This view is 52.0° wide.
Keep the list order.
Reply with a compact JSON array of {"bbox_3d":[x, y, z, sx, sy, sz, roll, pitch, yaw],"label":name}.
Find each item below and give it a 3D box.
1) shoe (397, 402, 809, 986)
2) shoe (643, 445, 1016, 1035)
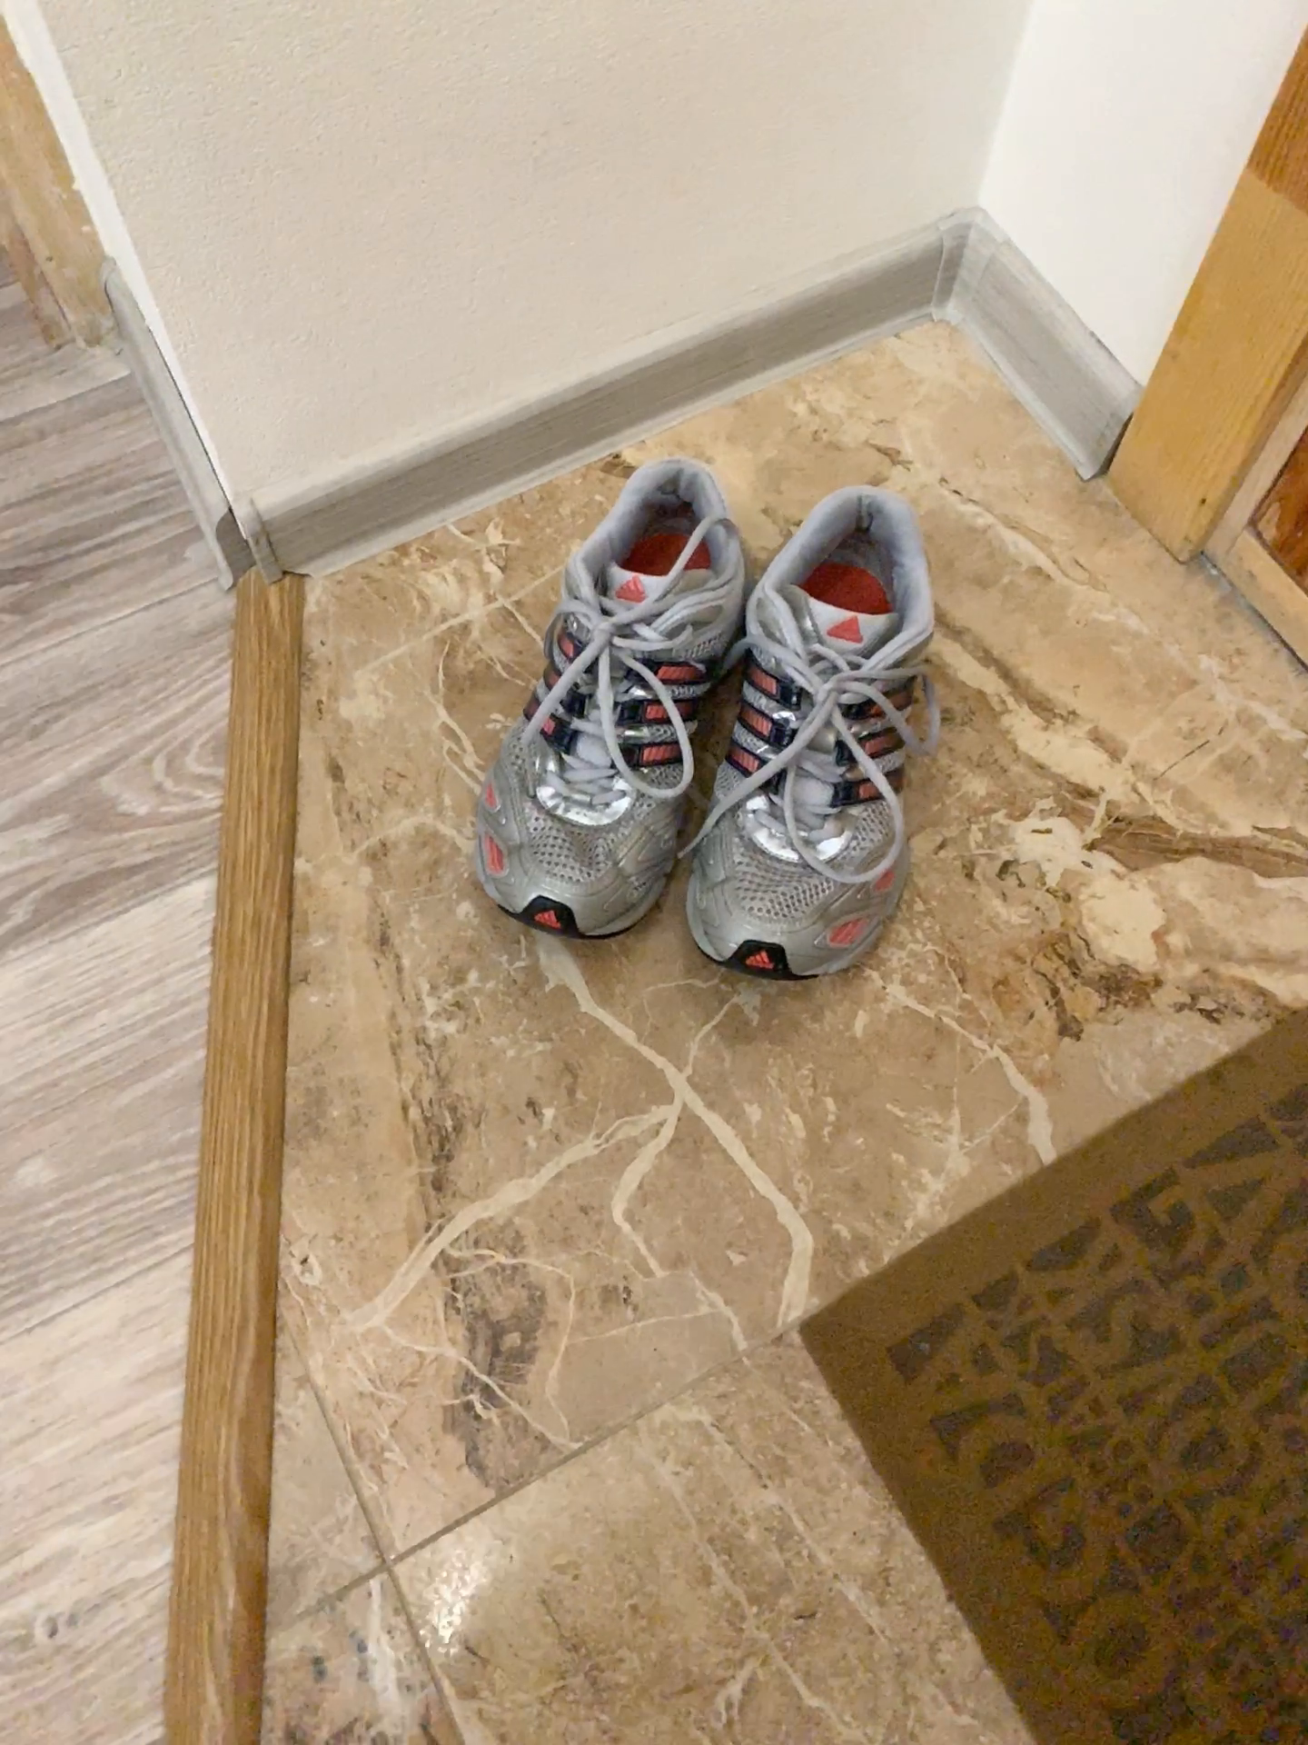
[{"bbox_3d":[-0.016,-0.086,0.622,0.110,0.090,0.241,16,65,7],"label":"shoe"},{"bbox_3d":[0.081,-0.065,0.616,0.110,0.090,0.241,15,65,6],"label":"shoe"}]
